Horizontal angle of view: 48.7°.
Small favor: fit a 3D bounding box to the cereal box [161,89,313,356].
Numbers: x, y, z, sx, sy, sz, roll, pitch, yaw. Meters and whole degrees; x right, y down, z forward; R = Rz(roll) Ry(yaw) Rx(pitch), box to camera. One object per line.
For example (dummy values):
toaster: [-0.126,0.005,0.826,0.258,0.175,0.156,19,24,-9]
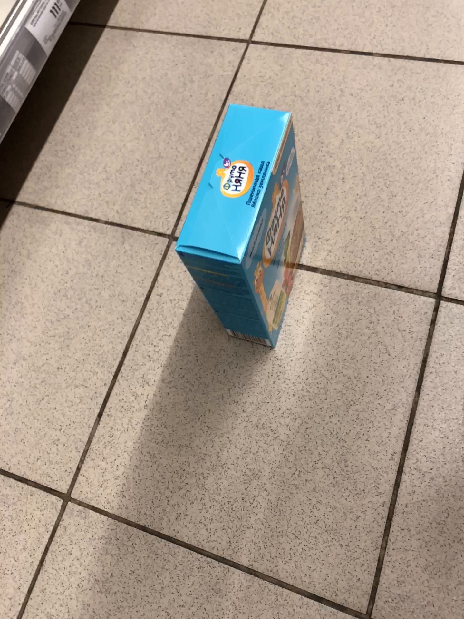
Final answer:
cereal box: [0.020,-0.059,0.446,0.060,0.199,0.140,13,73,16]
